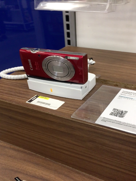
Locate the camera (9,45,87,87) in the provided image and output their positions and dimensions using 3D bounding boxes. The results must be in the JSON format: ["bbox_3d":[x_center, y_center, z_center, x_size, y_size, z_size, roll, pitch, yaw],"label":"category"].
[{"bbox_3d":[-0.029,-0.038,0.268,0.107,0.046,0.025,12,40,21],"label":"camera"}]
